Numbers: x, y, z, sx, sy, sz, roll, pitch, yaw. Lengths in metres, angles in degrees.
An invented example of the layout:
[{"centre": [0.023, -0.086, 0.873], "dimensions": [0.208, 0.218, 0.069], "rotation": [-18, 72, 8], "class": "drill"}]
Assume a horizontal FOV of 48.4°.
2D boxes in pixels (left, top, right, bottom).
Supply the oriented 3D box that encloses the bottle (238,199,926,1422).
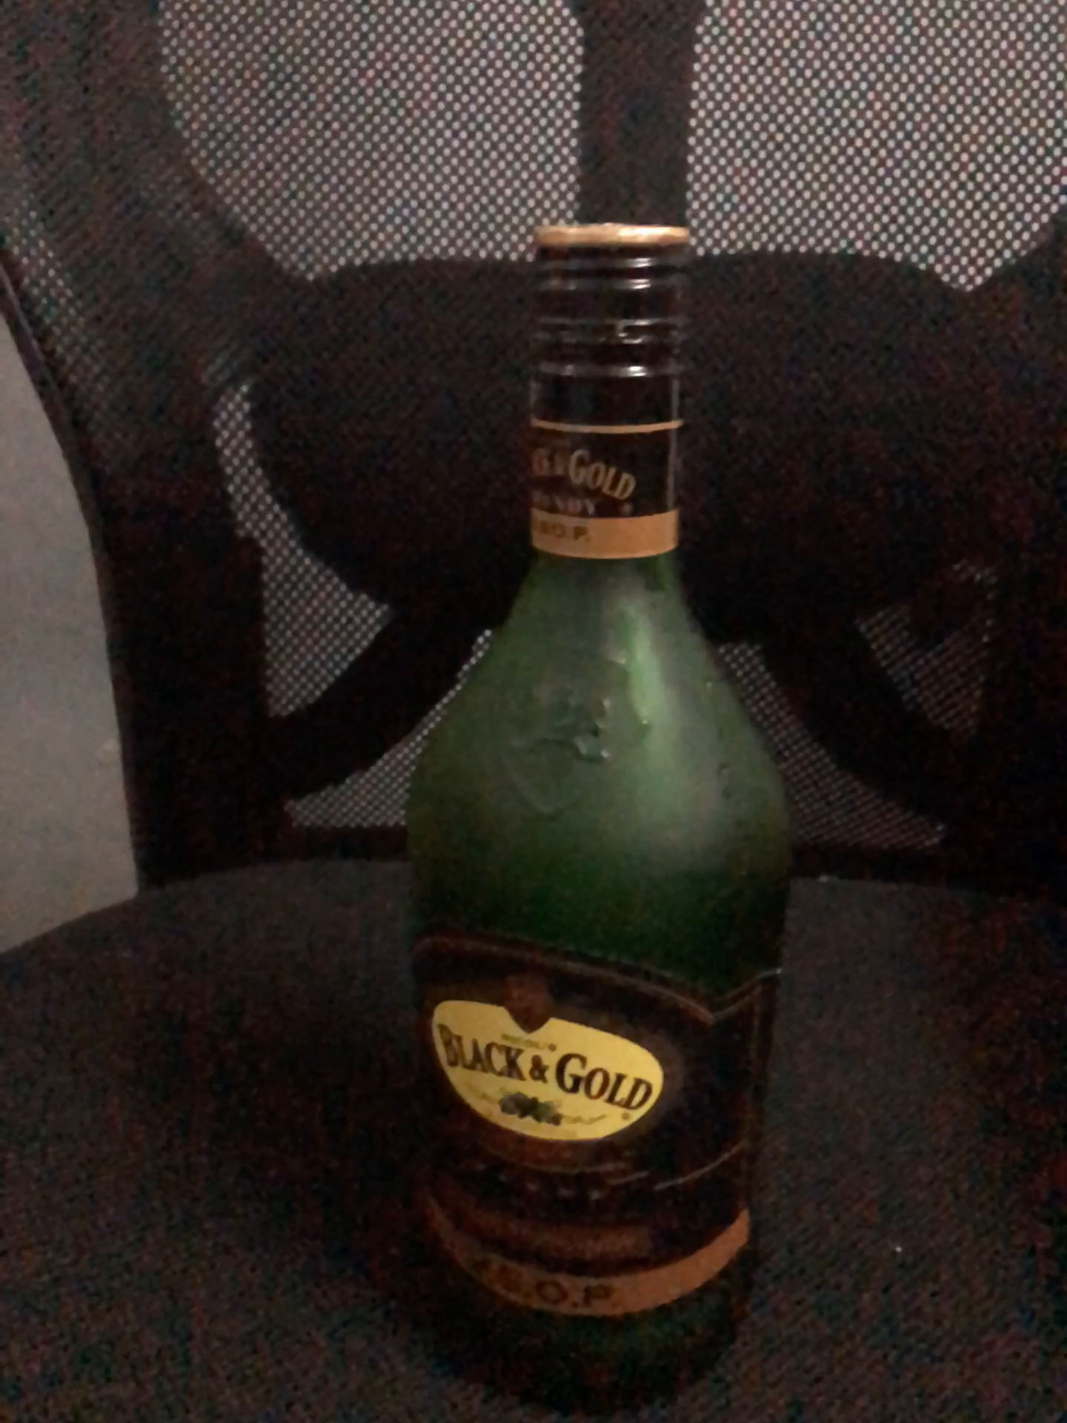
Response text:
[{"centre": [0.009, 0.030, 0.276], "dimensions": [0.110, 0.269, 0.080], "rotation": [10, 24, 19], "class": "bottle"}]
